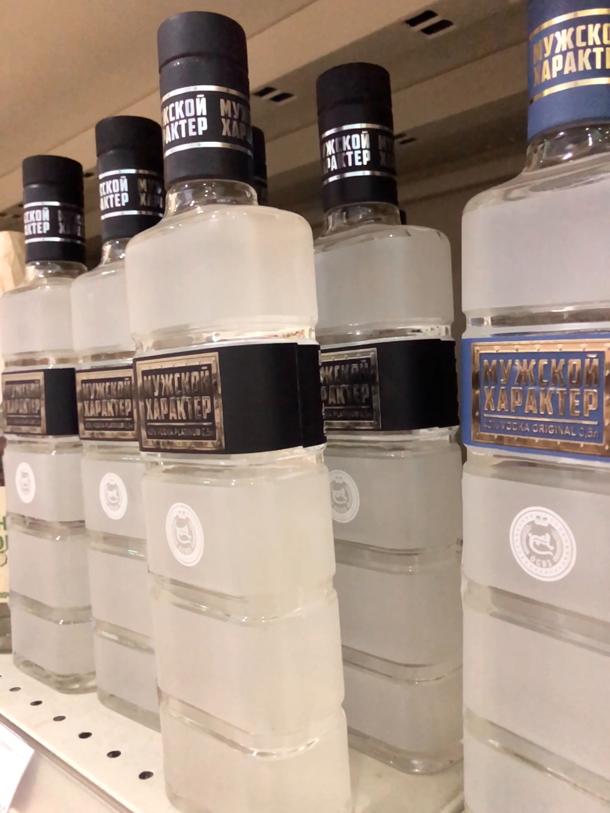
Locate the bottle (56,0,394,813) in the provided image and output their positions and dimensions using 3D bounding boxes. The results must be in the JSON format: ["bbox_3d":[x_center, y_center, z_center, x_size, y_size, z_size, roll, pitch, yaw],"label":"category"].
[{"bbox_3d":[-0.030,0.005,0.249,0.090,0.290,0.060,-1,4,43],"label":"bottle"}]
